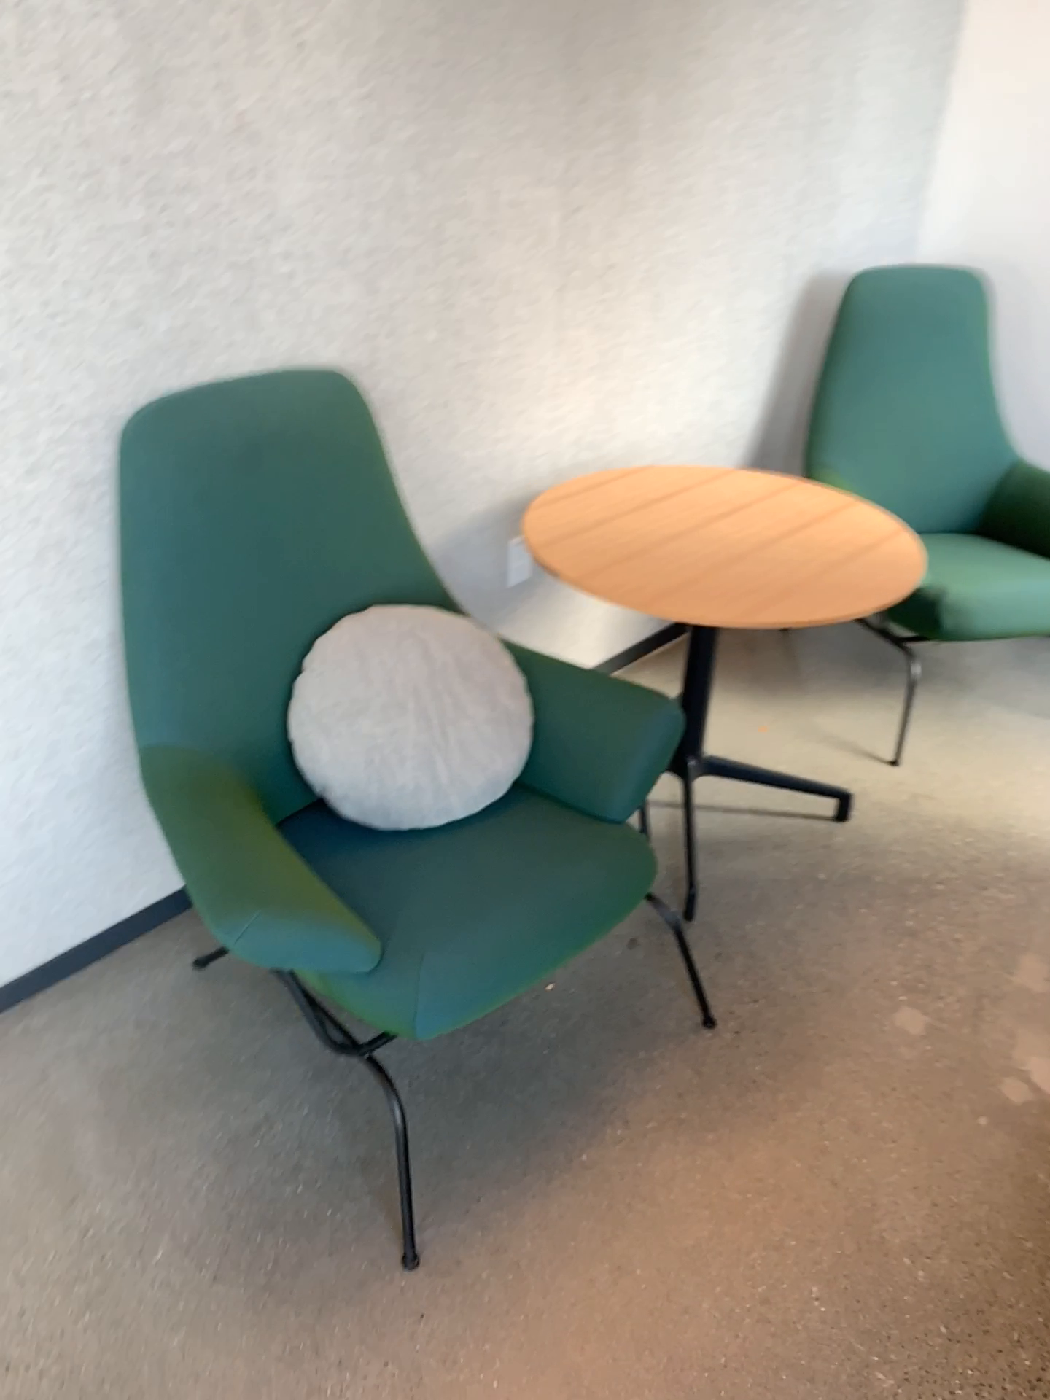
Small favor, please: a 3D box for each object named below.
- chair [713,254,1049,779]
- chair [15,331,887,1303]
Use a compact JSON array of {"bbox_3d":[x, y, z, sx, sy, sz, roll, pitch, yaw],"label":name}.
[{"bbox_3d":[1.105,-0.525,2.723,0.820,0.954,1.006,-5,32,-13],"label":"chair"},{"bbox_3d":[-0.123,0.078,1.732,0.832,1.034,0.853,-25,40,-37],"label":"chair"}]
